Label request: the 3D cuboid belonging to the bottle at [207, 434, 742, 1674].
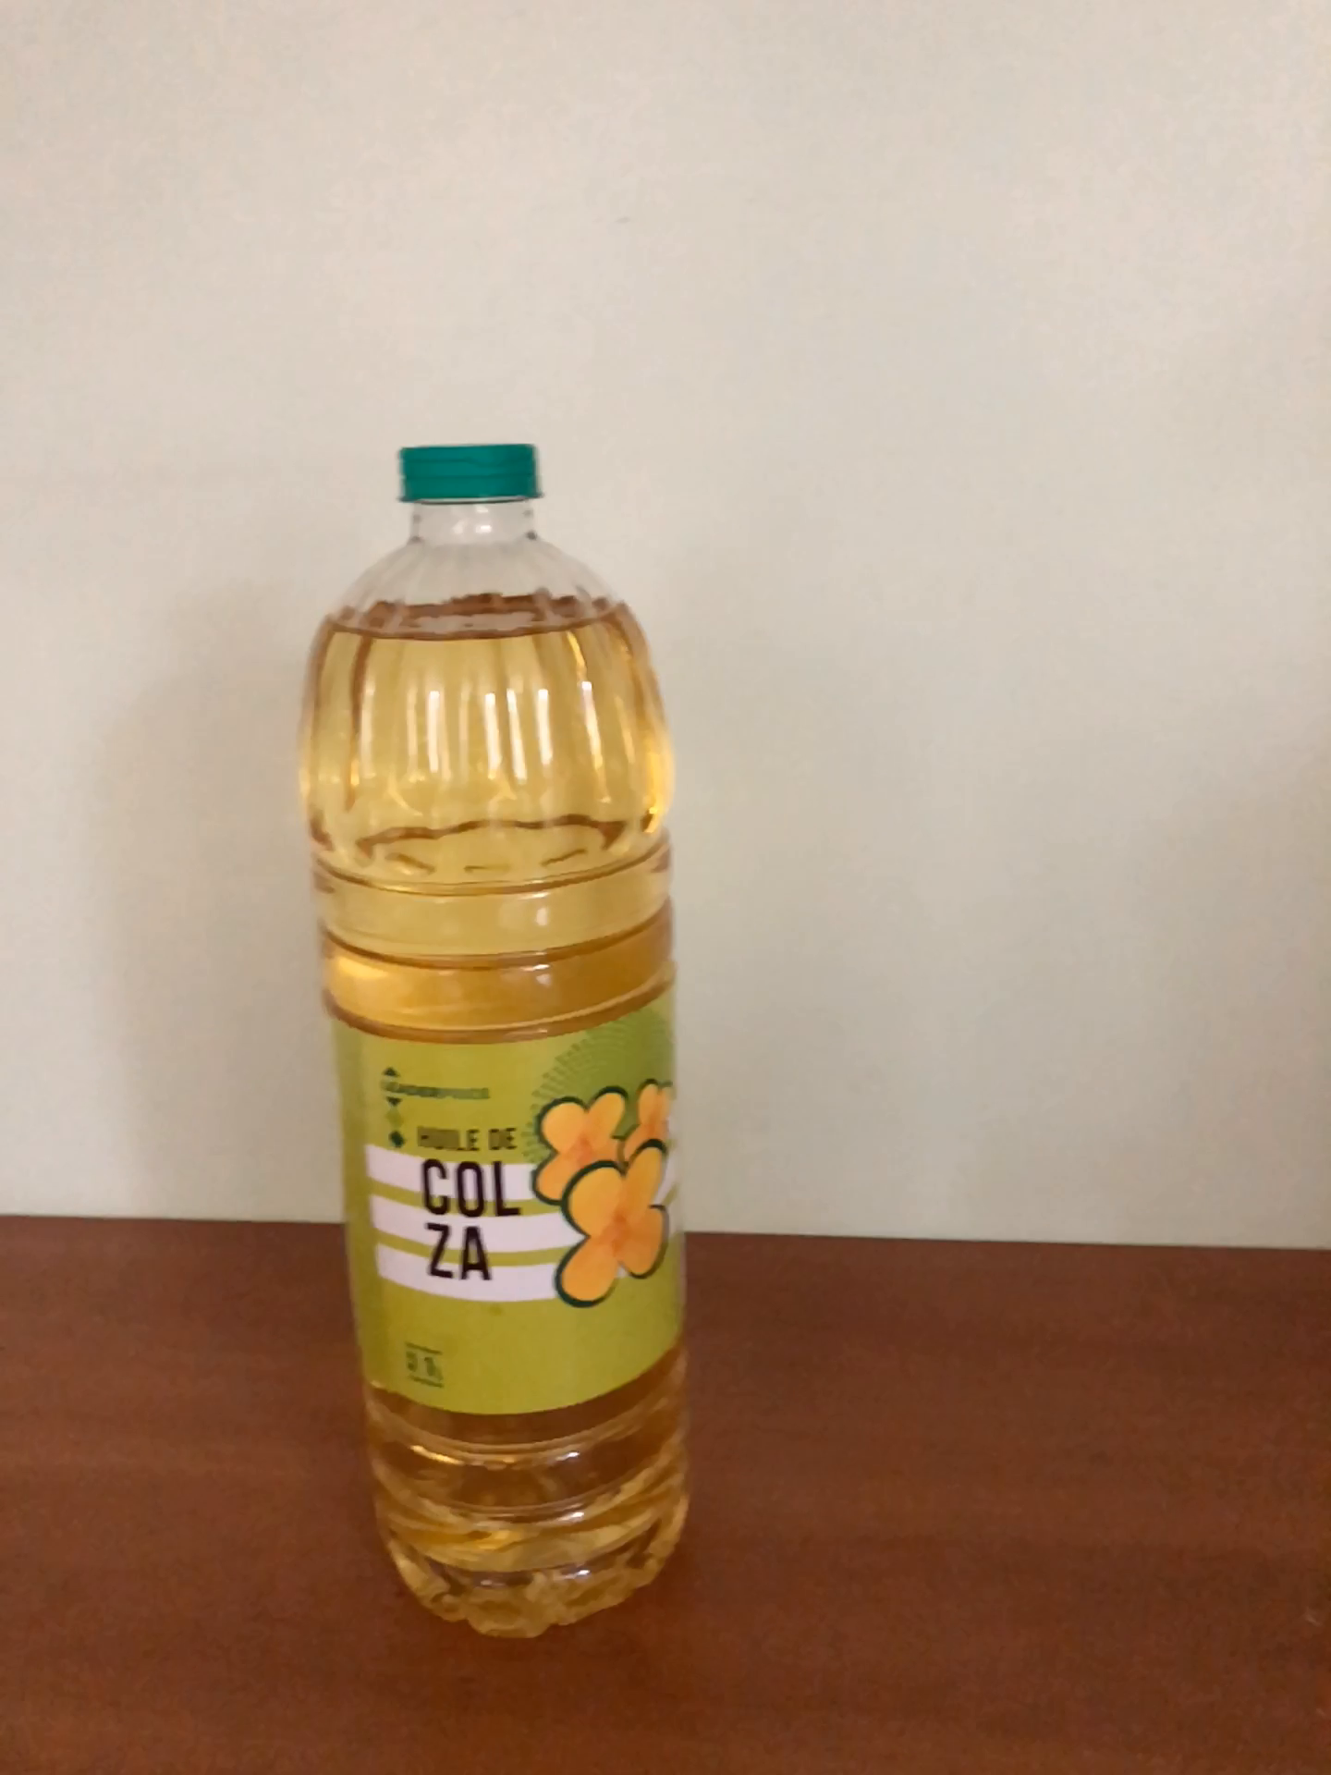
[{"bbox_3d":[-0.035,0.037,0.345,0.090,0.269,0.090,-2,18,1],"label":"bottle"}]
